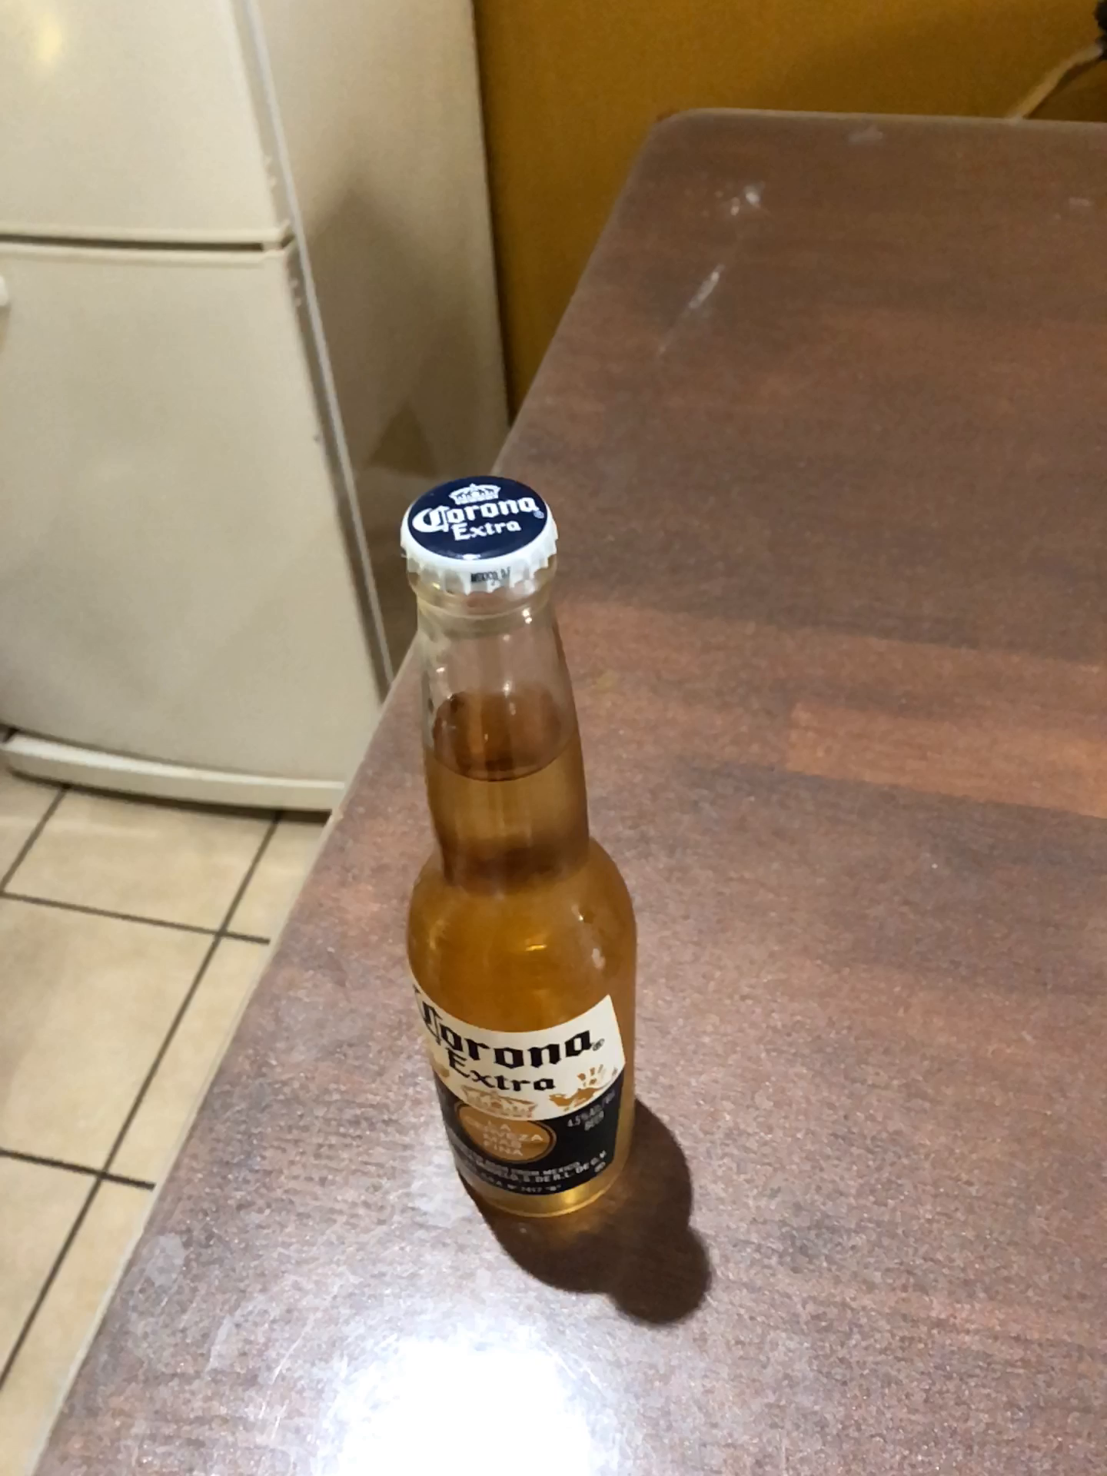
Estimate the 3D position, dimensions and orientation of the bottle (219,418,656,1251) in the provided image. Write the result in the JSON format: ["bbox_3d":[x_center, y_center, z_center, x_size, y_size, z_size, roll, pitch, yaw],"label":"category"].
[{"bbox_3d":[-0.013,0.044,0.305,0.060,0.238,0.060,-2,47,2],"label":"bottle"}]
